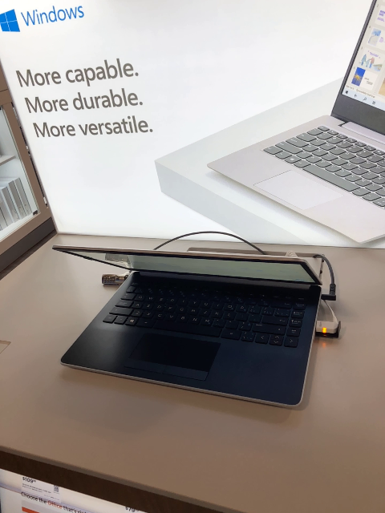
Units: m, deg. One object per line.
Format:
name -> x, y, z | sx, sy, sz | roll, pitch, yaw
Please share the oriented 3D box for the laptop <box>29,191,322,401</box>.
laptop -> 0.001, 0.026, 0.558 | 0.303, 0.155, 0.225 | 3, 30, 23
